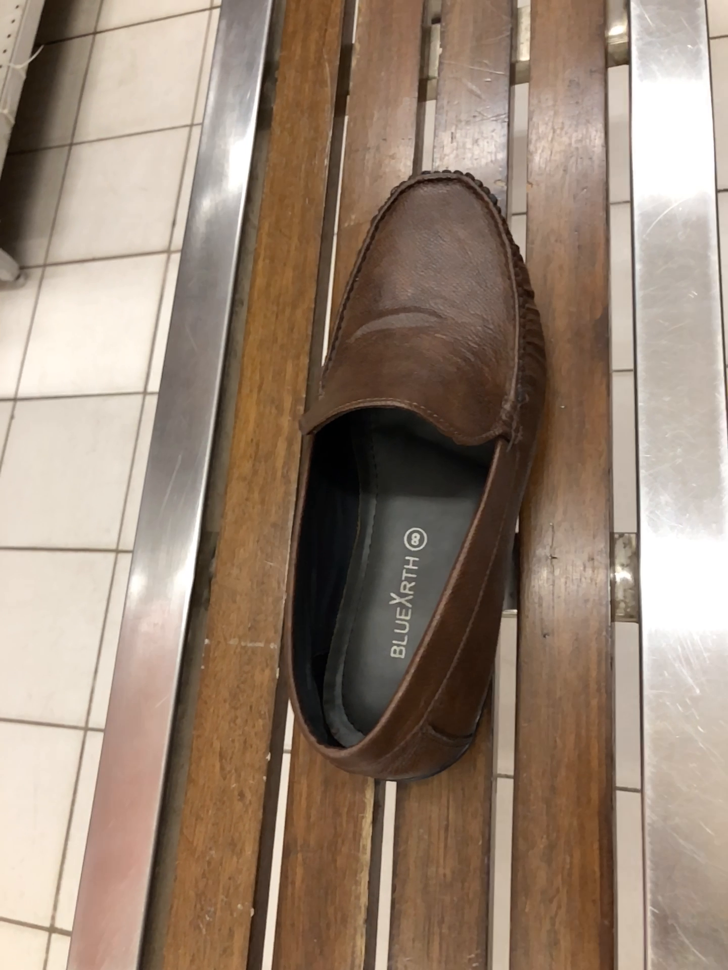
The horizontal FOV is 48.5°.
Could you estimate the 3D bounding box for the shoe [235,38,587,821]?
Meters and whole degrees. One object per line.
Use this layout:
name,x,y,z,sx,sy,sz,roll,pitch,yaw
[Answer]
shoe,0.034,-0.027,0.352,0.104,0.094,0.301,1,74,20
